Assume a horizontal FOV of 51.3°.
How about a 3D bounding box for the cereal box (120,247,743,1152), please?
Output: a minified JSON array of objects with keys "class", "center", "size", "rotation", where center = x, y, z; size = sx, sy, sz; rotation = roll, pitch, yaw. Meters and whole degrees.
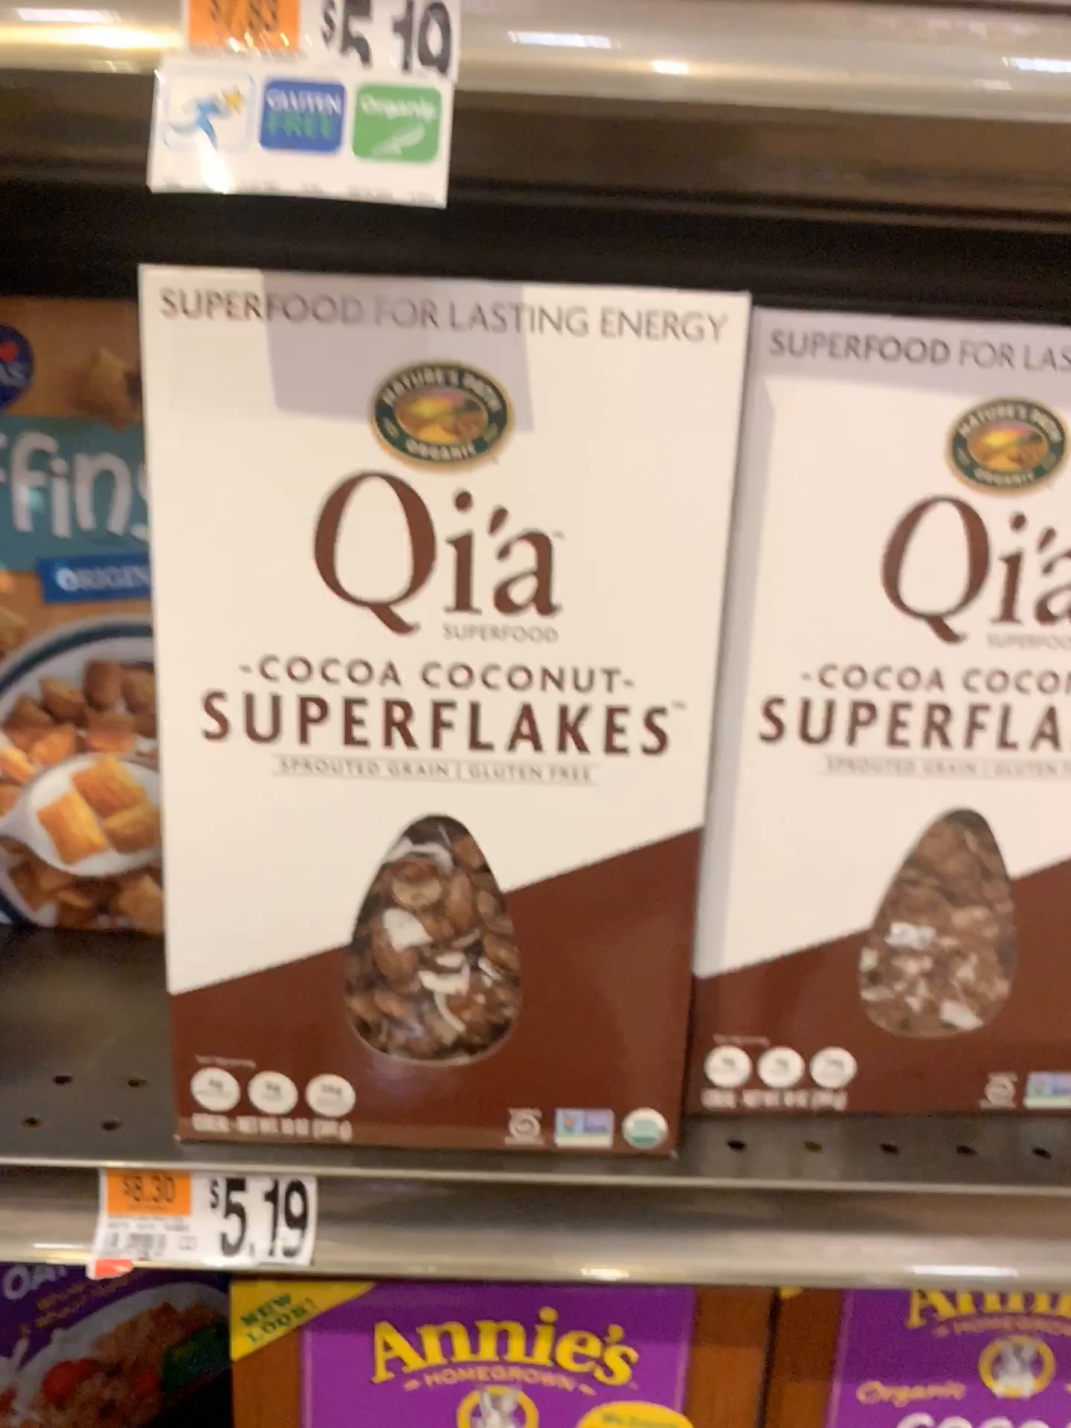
[{"class":"cereal box","center":[-0.033,0.002,0.348],"size":[0.160,0.259,0.060],"rotation":[2,14,-2]}]
